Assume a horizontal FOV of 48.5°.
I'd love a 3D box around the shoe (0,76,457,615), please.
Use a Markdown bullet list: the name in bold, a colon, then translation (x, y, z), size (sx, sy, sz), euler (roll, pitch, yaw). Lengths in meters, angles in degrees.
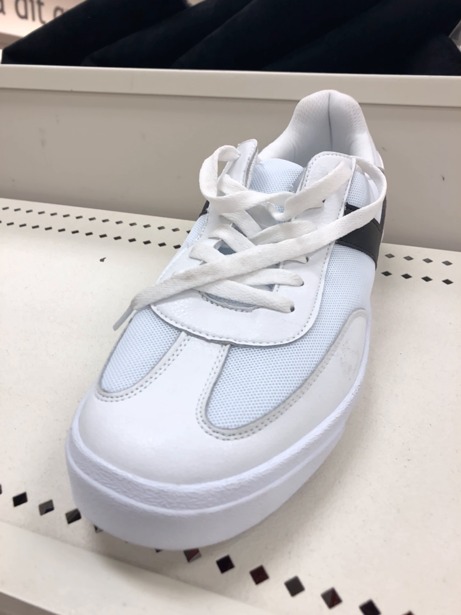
- **shoe**: translation (0.044, -0.051, 0.287), size (0.113, 0.129, 0.372), euler (11, 28, 22)
